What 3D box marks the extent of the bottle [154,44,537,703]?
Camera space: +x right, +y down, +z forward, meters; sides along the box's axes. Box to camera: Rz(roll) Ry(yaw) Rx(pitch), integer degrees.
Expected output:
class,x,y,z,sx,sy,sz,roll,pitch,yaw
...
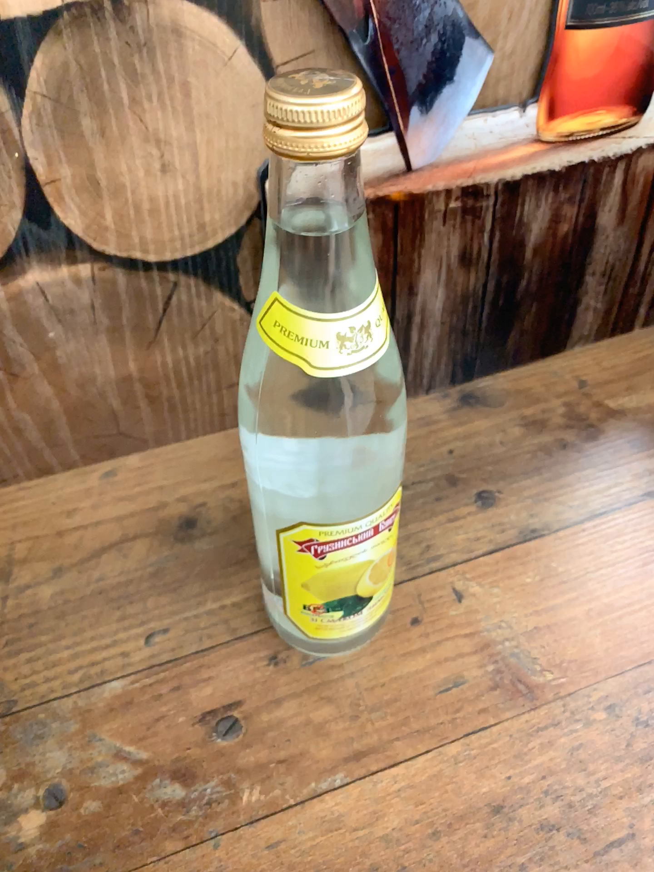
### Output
class,x,y,z,sx,sy,sz,roll,pitch,yaw
bottle,0.002,-0.001,0.236,0.070,0.219,0.070,-1,44,1

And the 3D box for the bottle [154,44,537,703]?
class,x,y,z,sx,sy,sz,roll,pitch,yaw
bottle,0.002,-0.001,0.236,0.070,0.219,0.070,-1,44,1
